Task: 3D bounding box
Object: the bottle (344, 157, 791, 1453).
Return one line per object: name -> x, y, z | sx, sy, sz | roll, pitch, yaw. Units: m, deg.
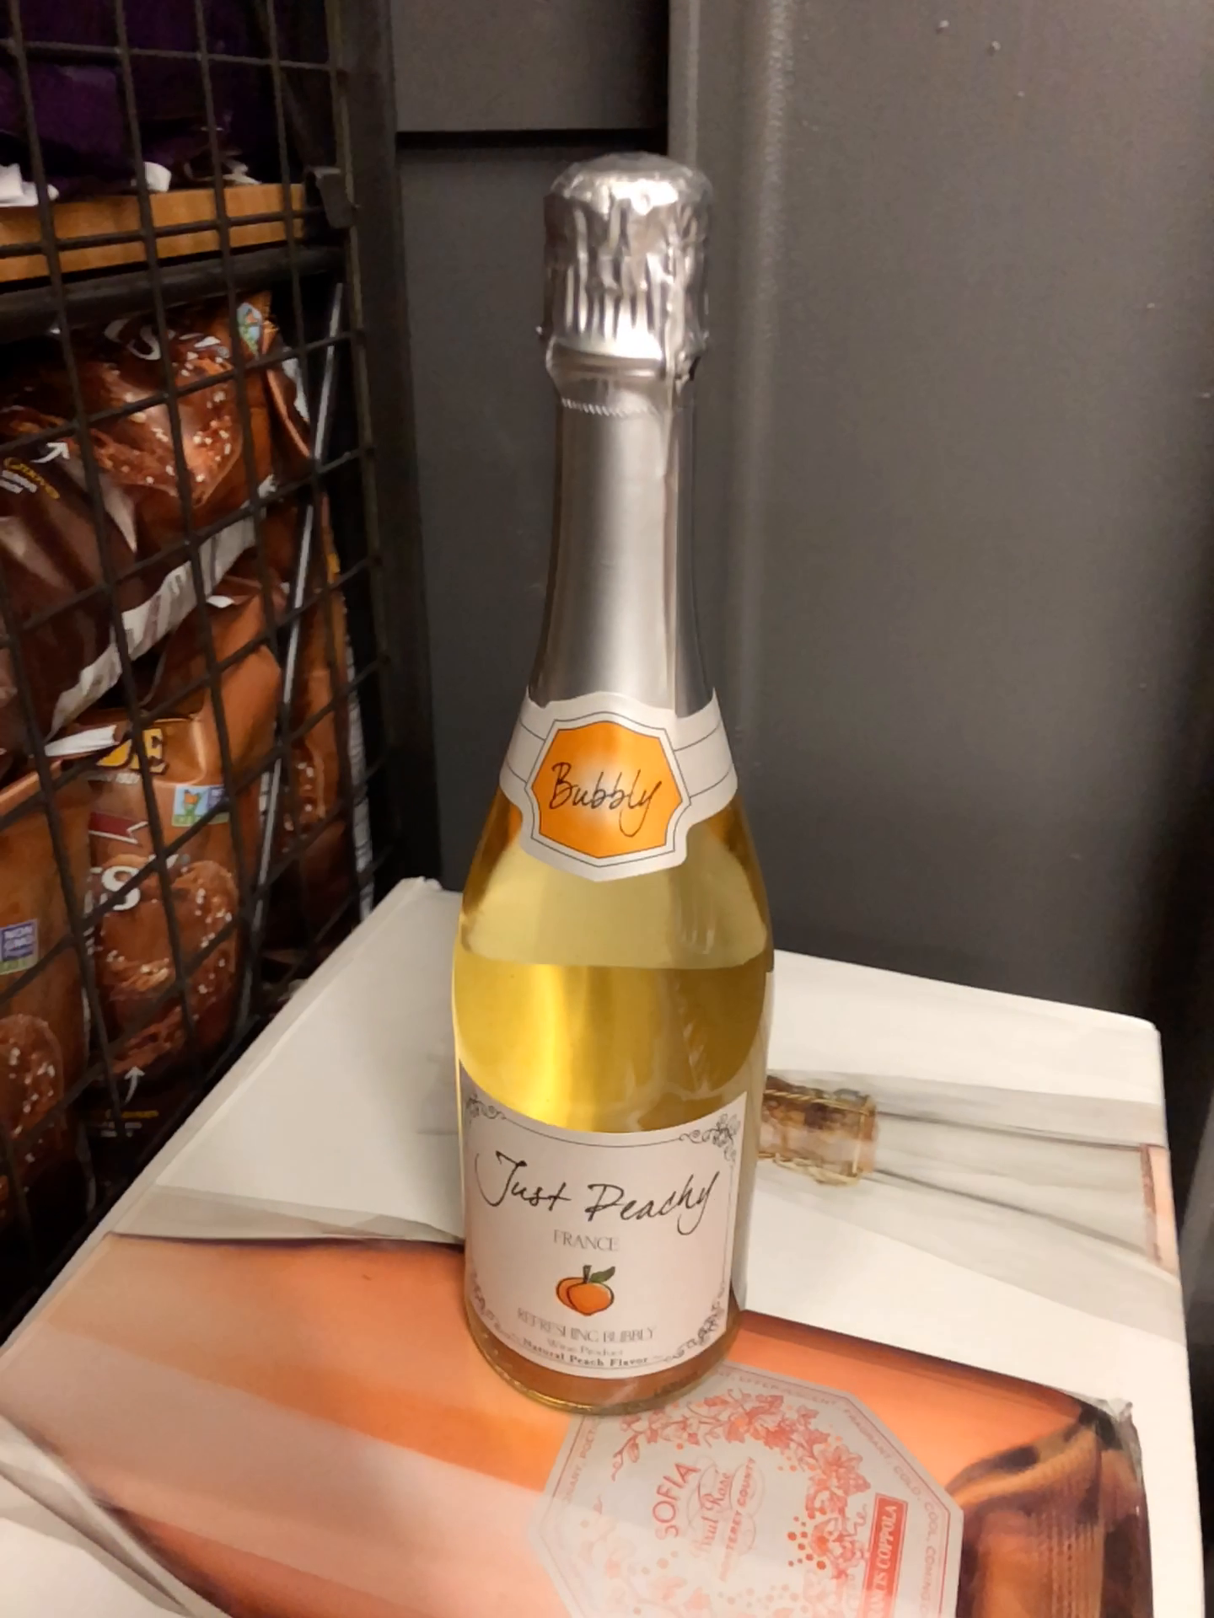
bottle -> -0.001, 0.012, 0.341 | 0.078, 0.319, 0.087 | 3, 26, 6
